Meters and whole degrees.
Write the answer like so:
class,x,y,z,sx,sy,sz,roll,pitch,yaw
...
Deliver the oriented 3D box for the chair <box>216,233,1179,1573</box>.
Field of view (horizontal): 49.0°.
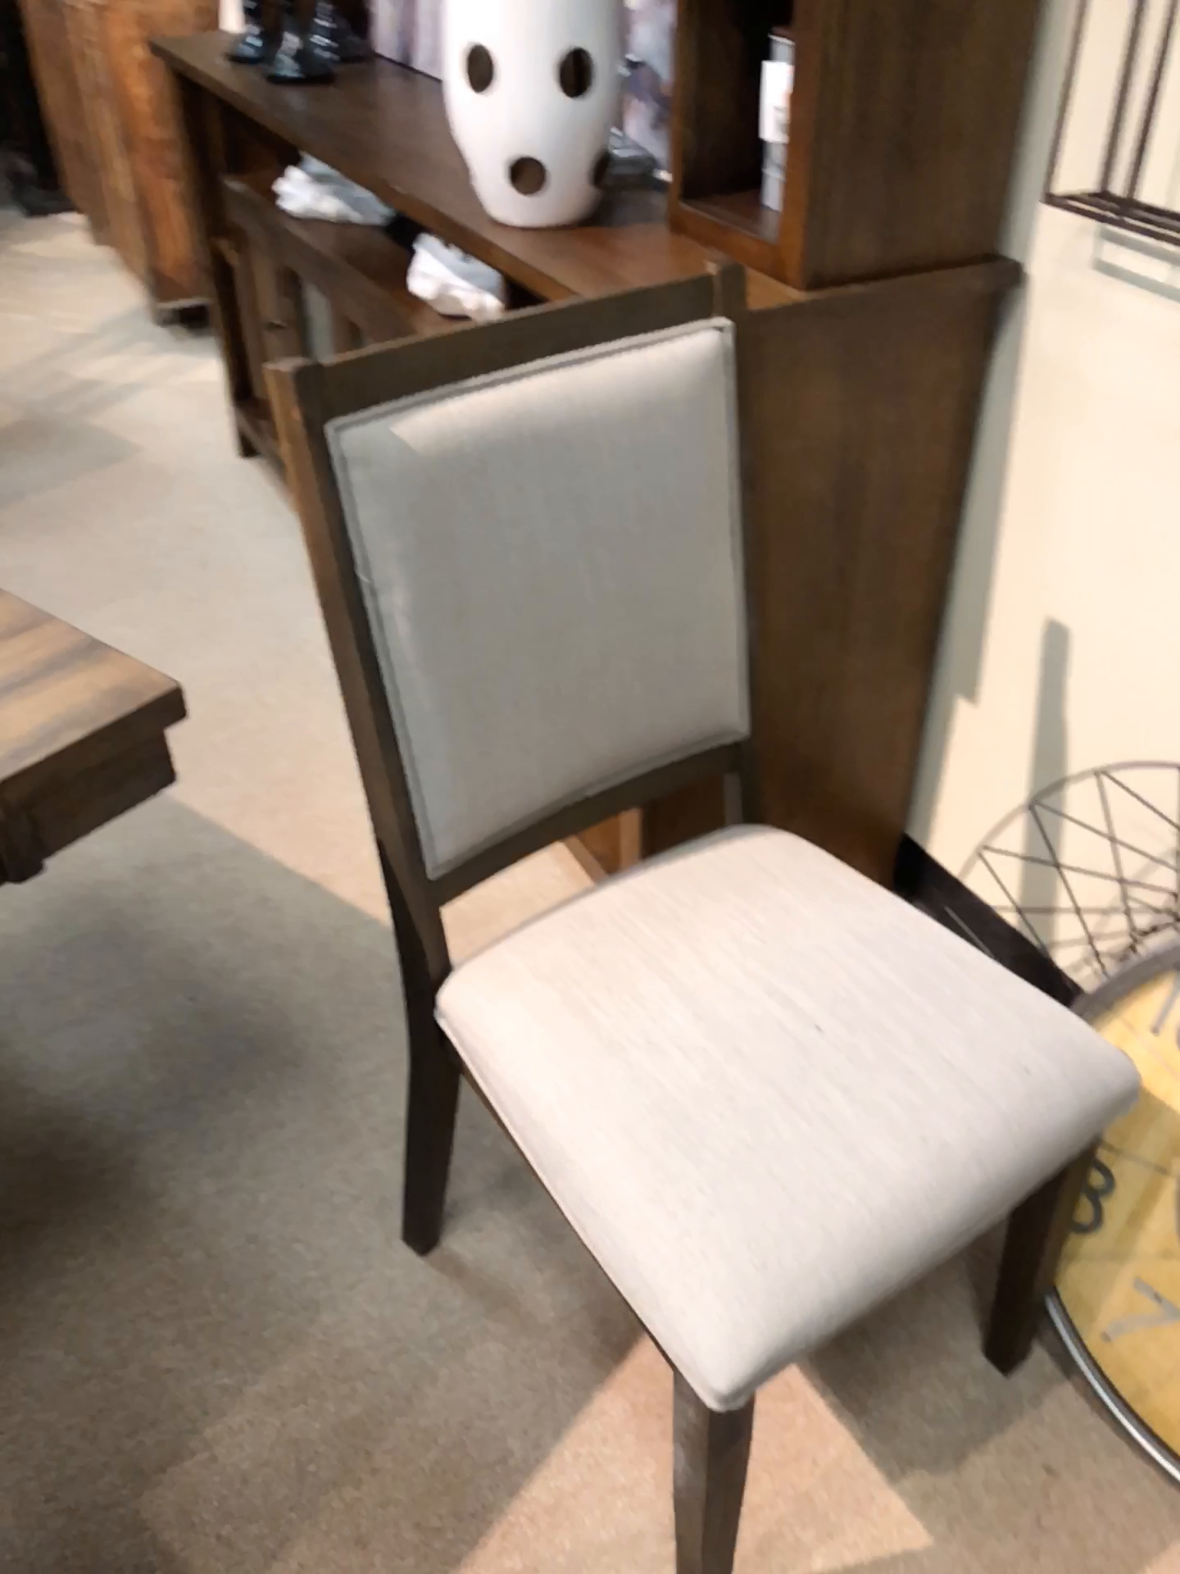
class,x,y,z,sx,sy,sz,roll,pitch,yaw
chair,0.105,0.138,1.022,0.461,0.923,0.493,-24,42,-28
